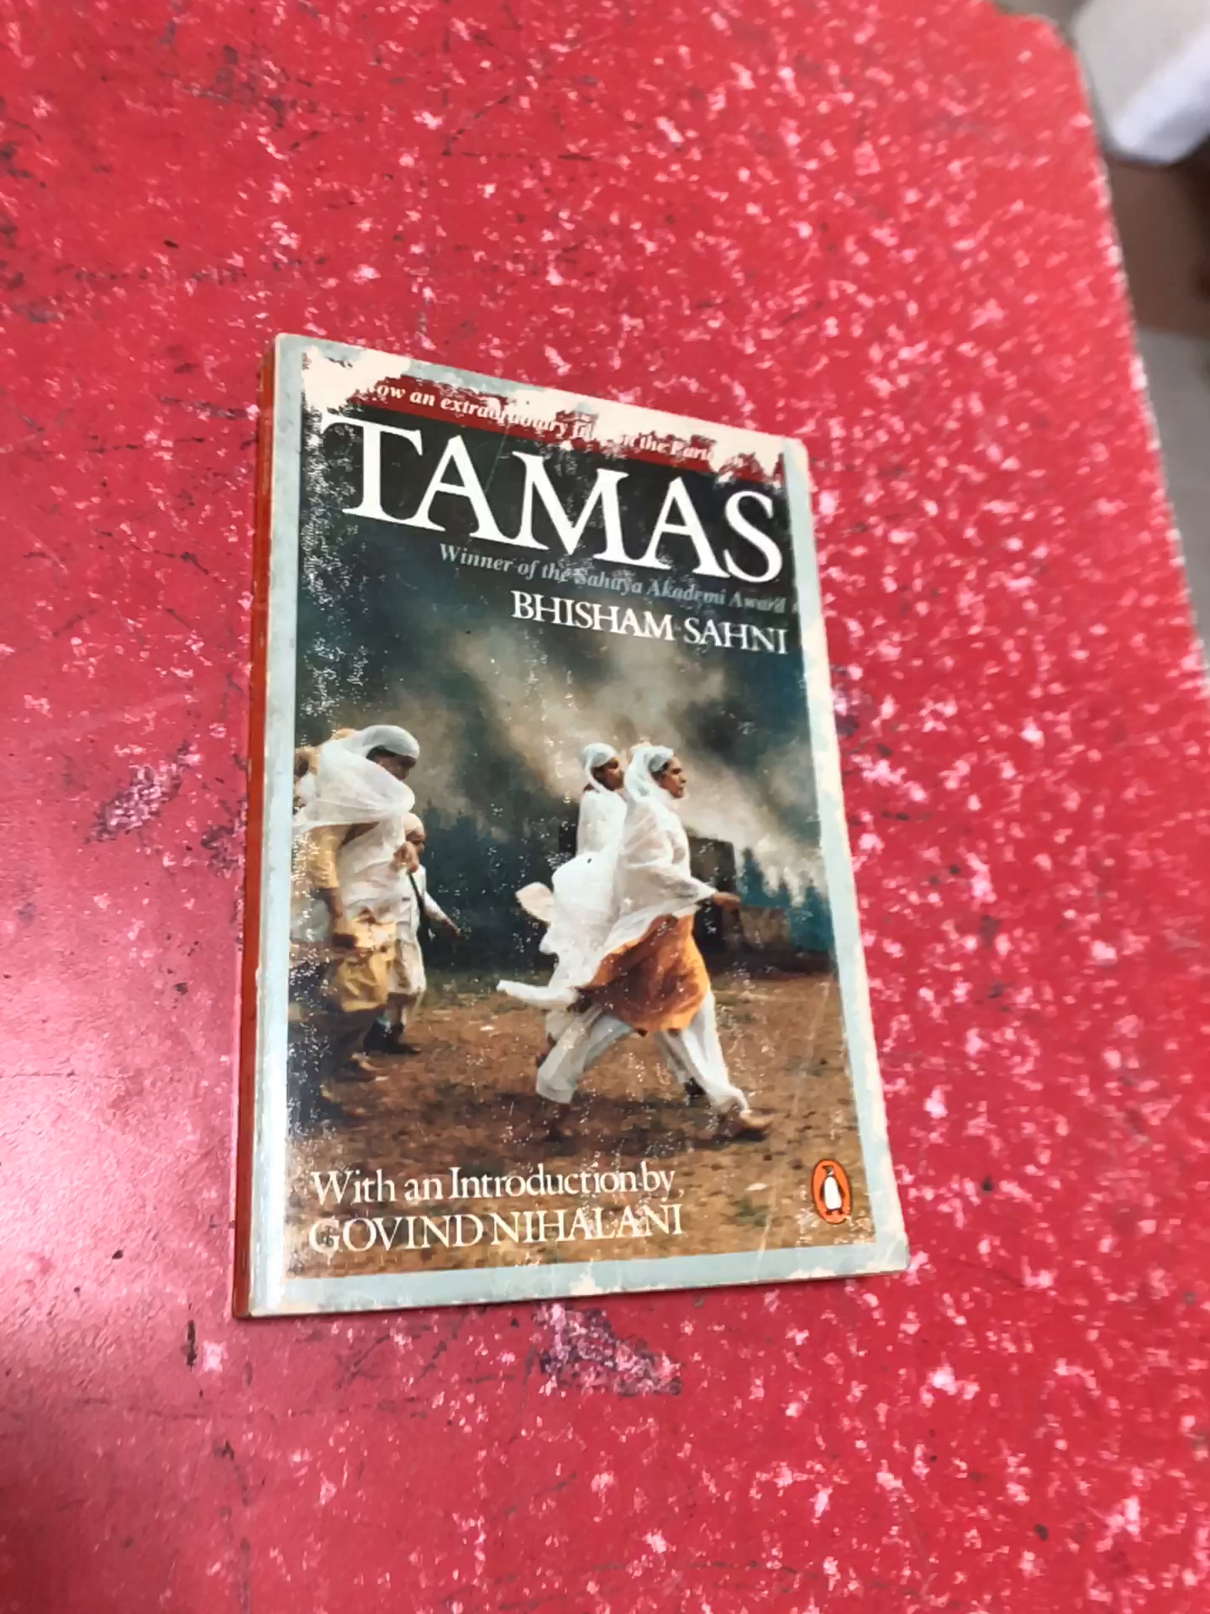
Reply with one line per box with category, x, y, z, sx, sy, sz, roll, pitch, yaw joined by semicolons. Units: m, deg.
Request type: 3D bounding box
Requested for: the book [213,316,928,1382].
book;-0.009;0.002;0.277;0.130;0.020;0.200;4;69;-23
